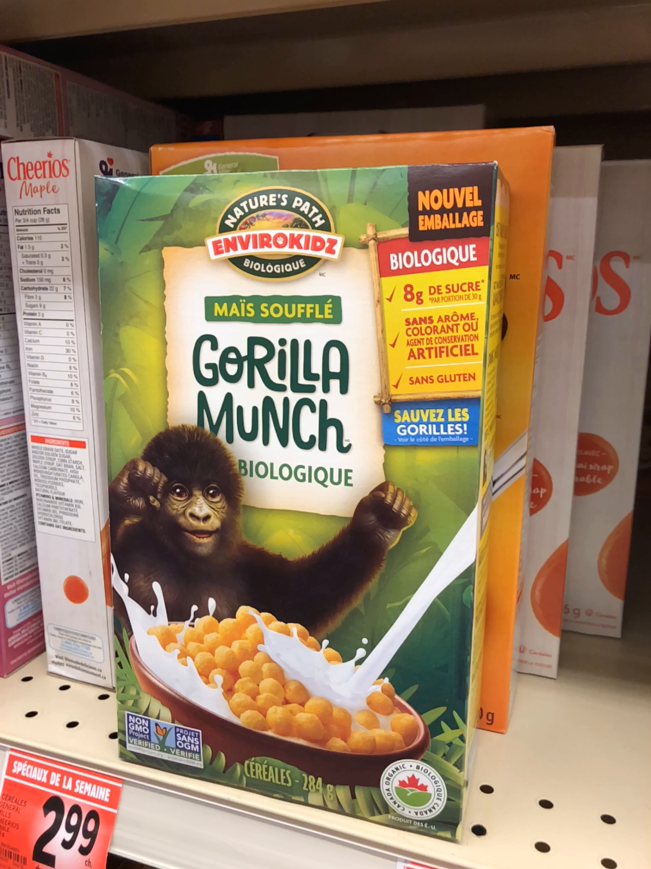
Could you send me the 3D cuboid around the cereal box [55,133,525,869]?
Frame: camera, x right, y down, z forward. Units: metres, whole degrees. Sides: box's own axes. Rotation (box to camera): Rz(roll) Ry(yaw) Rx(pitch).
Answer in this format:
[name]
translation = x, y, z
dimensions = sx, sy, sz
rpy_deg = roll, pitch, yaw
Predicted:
[cereal box]
translation = -0.012, 0.026, 0.291
dimensions = 0.160, 0.259, 0.060
rpy_deg = 4, 14, 18
